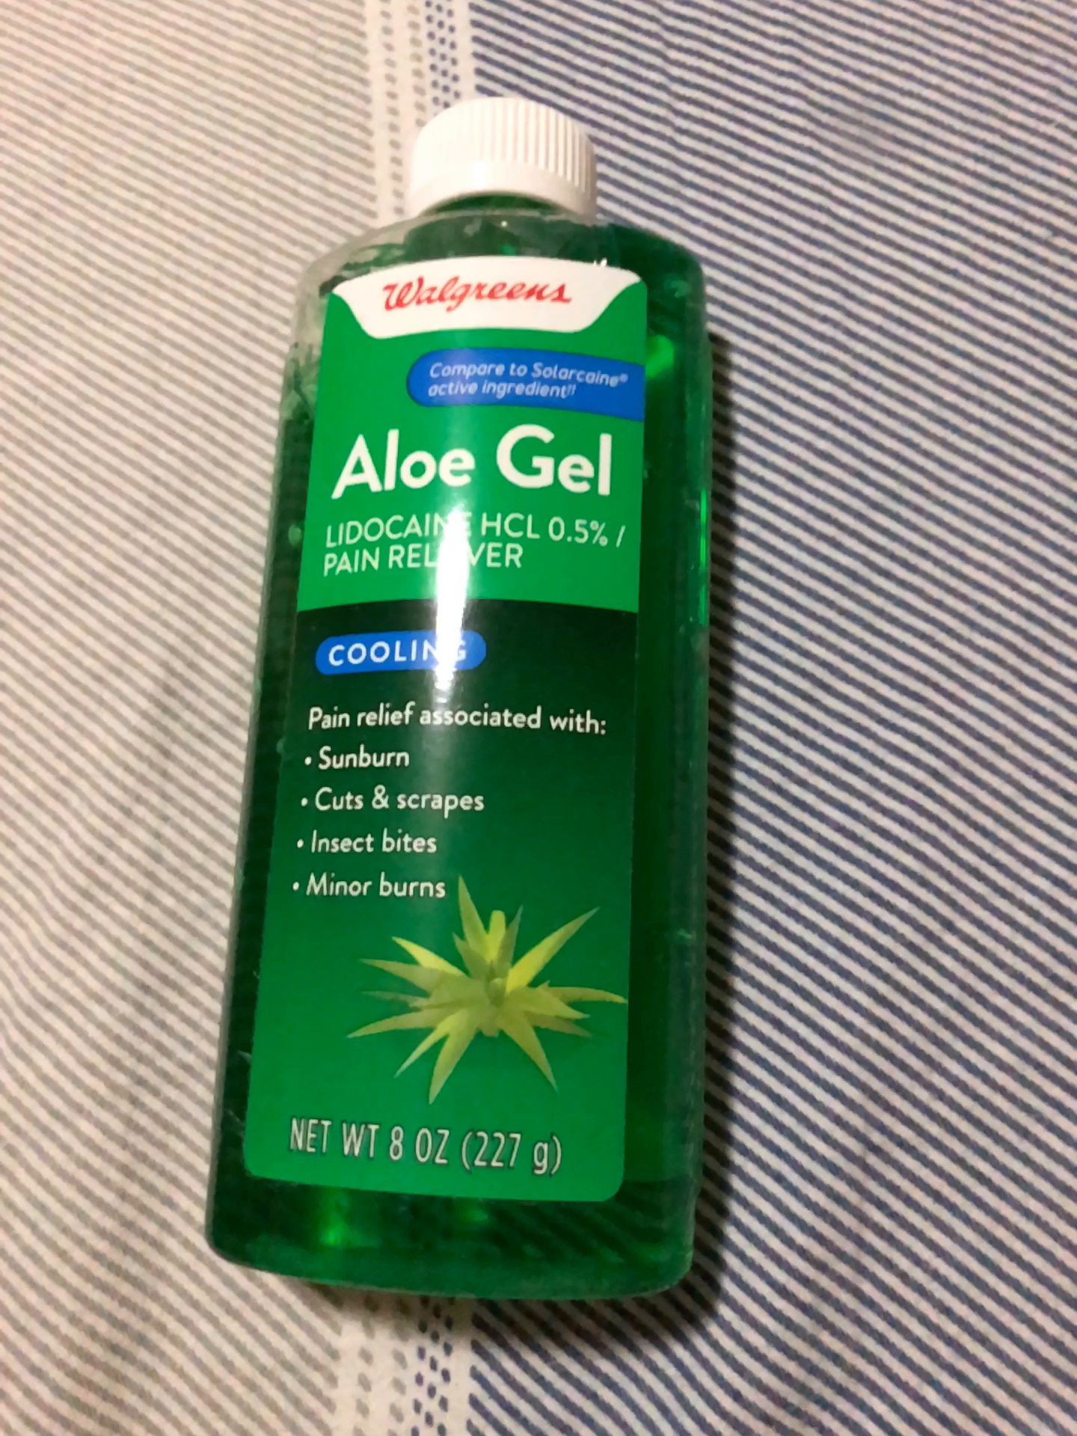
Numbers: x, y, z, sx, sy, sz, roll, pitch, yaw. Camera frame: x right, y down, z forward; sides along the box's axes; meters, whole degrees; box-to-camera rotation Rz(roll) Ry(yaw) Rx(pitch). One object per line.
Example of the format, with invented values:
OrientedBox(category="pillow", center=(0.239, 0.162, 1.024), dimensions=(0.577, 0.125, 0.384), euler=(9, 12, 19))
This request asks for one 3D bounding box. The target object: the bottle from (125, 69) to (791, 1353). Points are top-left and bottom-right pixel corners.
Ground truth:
OrientedBox(category="bottle", center=(-0.005, -0.010, 0.182), dimensions=(0.080, 0.030, 0.180), euler=(2, 76, 4))
